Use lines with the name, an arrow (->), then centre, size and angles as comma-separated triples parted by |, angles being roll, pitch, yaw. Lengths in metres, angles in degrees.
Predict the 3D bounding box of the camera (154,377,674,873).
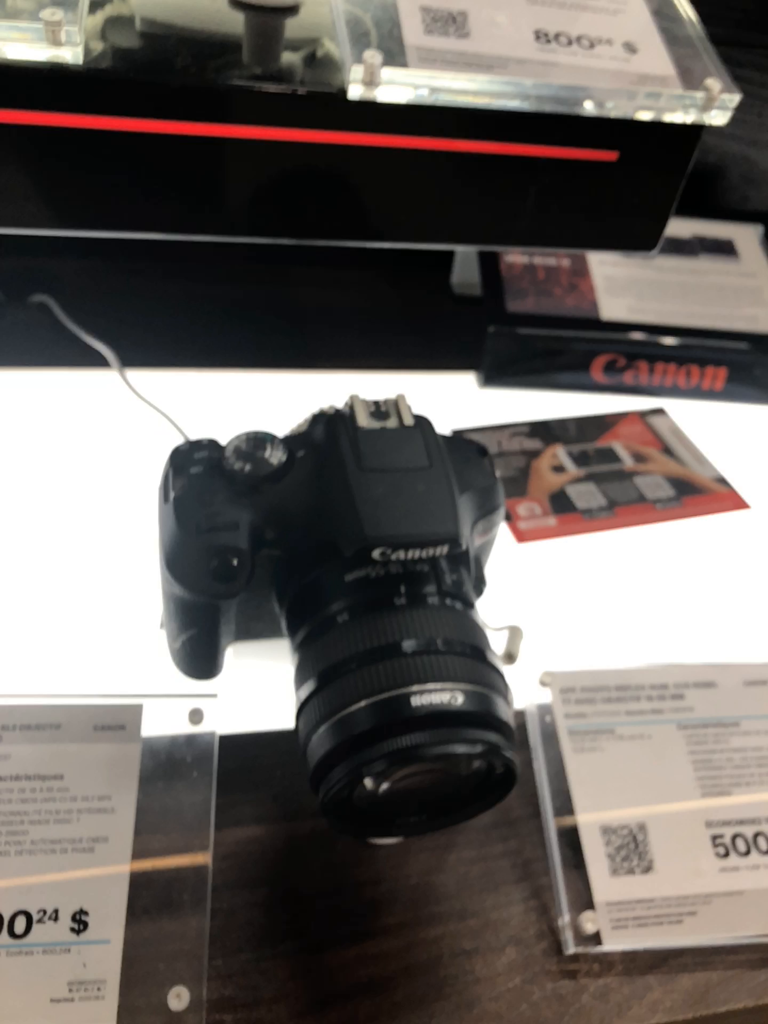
camera -> -0.005, 0.030, 0.282 | 0.128, 0.099, 0.112 | -3, 43, -14
